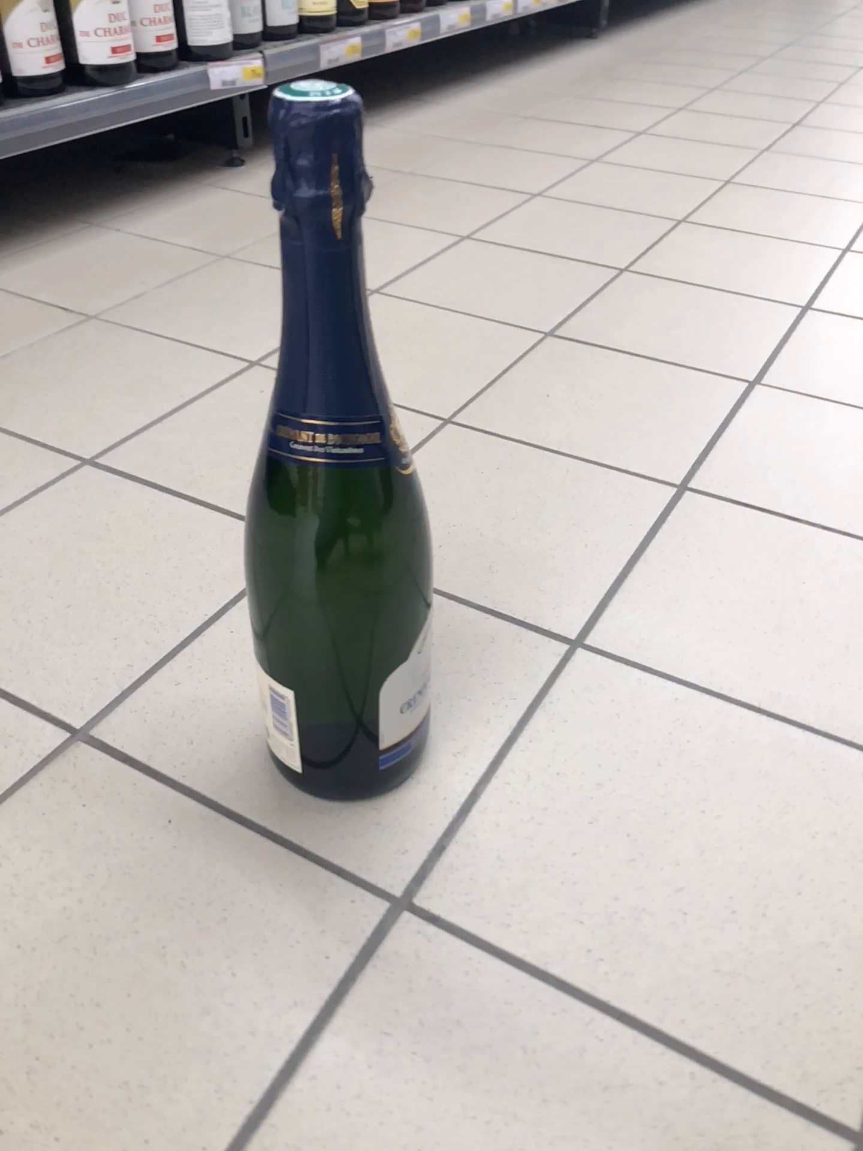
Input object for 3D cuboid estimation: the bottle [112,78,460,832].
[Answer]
[{"bbox_3d":[-0.044,-0.032,0.408,0.100,0.308,0.101,1,37,-1],"label":"bottle"}]
